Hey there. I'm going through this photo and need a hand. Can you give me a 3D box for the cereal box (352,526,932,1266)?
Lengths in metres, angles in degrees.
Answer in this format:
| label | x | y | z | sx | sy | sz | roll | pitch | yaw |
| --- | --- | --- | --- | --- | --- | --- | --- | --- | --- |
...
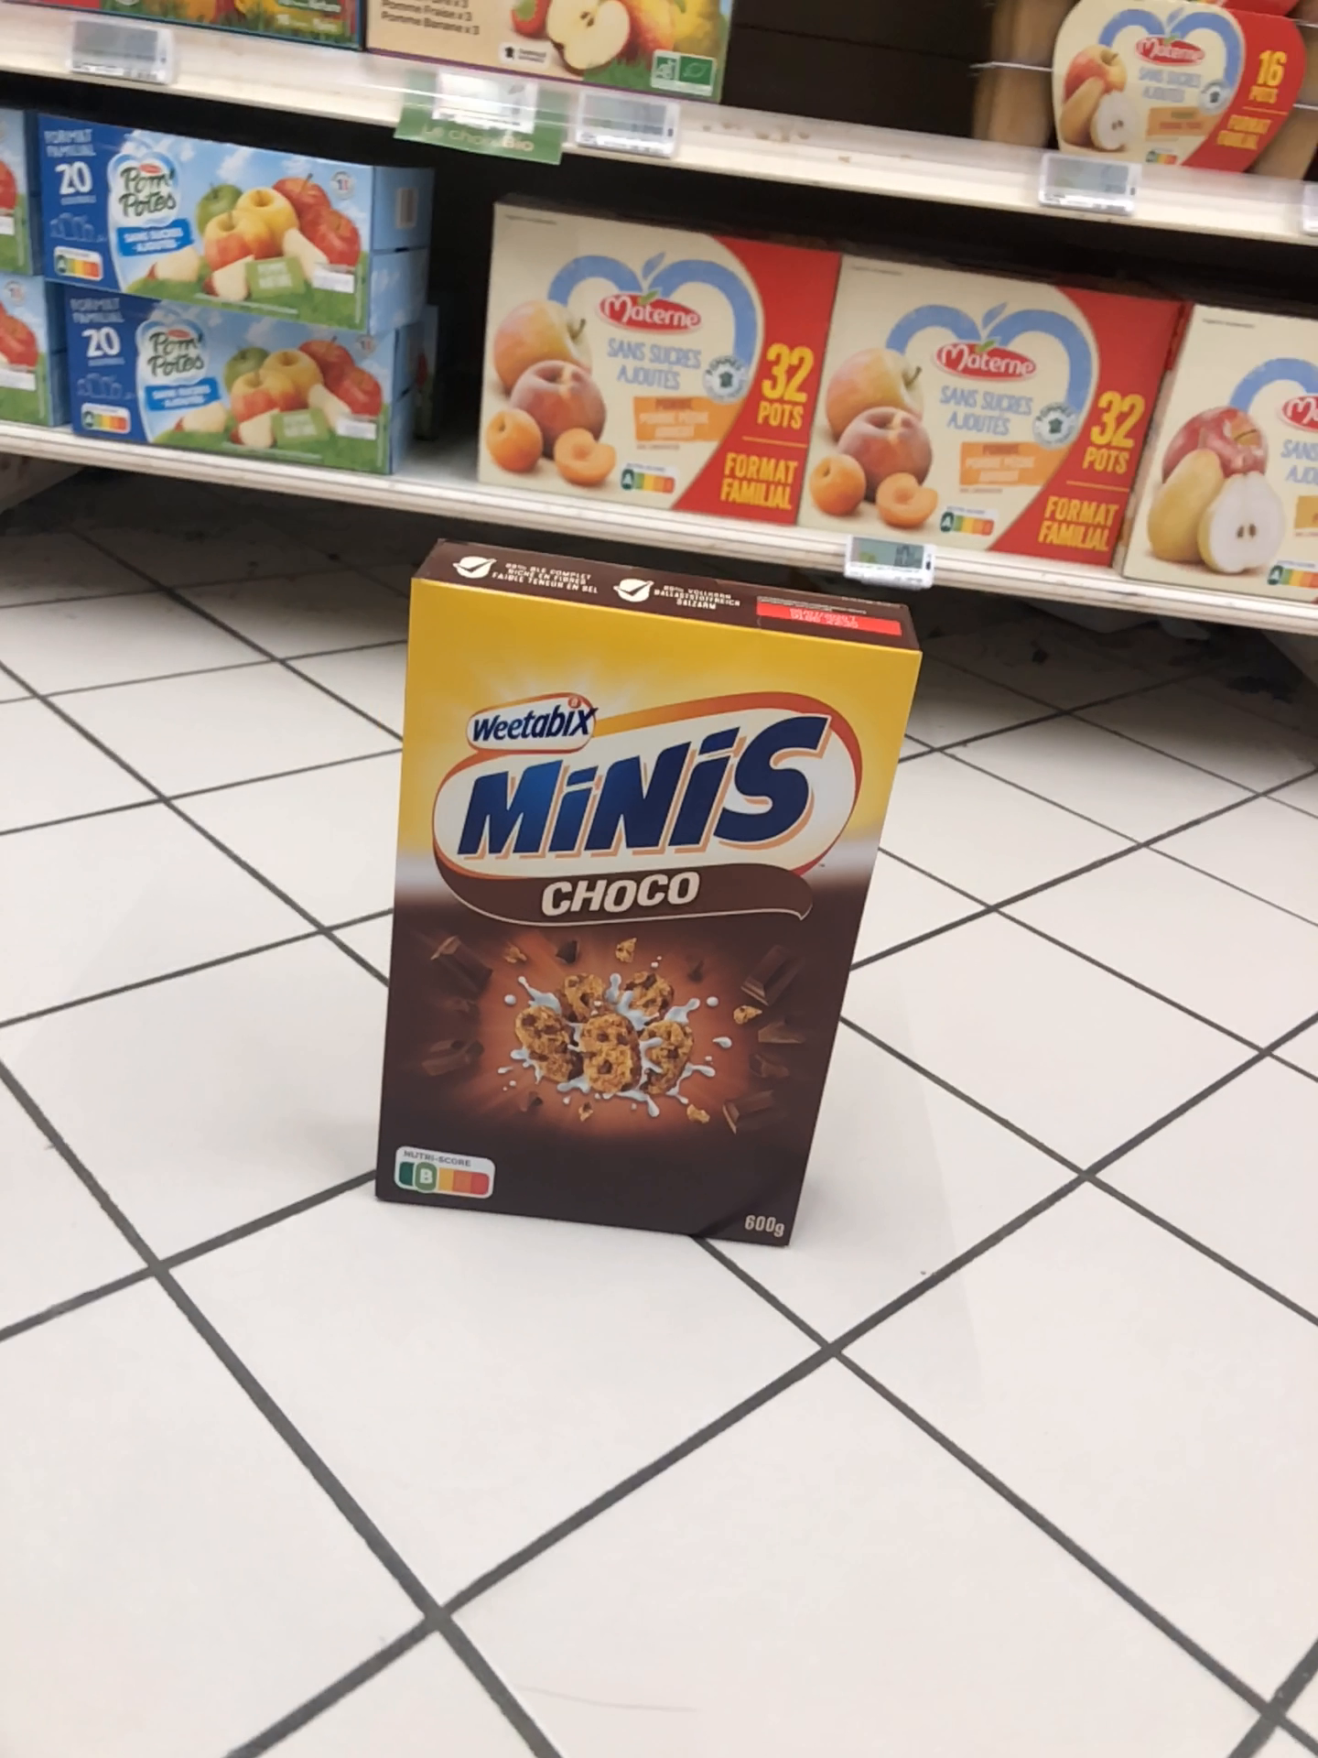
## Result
| label | x | y | z | sx | sy | sz | roll | pitch | yaw |
| --- | --- | --- | --- | --- | --- | --- | --- | --- | --- |
| cereal box | -0.018 | 0.015 | 0.620 | 0.200 | 0.288 | 0.080 | 7 | 26 | -2 |
